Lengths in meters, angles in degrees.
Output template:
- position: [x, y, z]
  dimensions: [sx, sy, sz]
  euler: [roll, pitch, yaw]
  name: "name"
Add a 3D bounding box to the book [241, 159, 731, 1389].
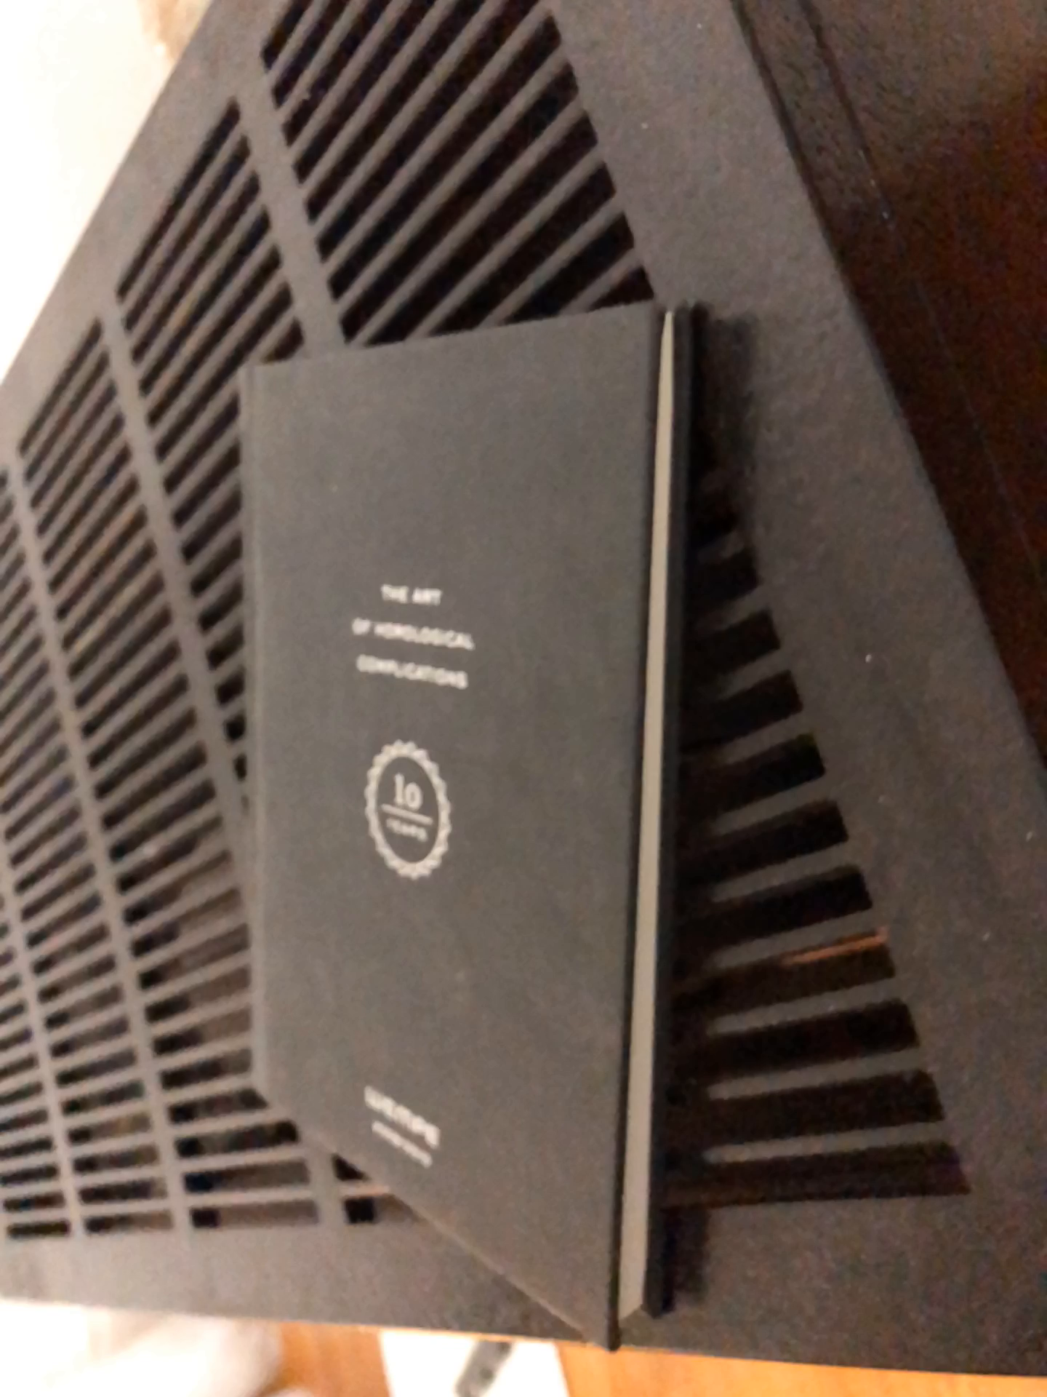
- position: [-0.023, 0.014, 0.302]
  dimensions: [0.161, 0.020, 0.250]
  euler: [9, 101, 47]
  name: "book"
